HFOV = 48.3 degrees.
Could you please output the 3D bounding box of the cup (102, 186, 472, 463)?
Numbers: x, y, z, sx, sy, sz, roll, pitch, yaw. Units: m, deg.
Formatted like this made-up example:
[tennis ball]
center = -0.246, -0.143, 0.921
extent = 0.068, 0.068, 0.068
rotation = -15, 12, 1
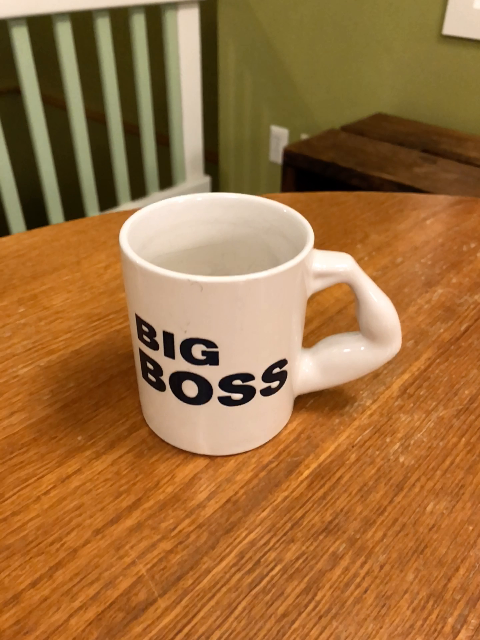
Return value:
[cup]
center = 0.015, 0.000, 0.263
extent = 0.138, 0.099, 0.088
rotation = -1, 36, -3
